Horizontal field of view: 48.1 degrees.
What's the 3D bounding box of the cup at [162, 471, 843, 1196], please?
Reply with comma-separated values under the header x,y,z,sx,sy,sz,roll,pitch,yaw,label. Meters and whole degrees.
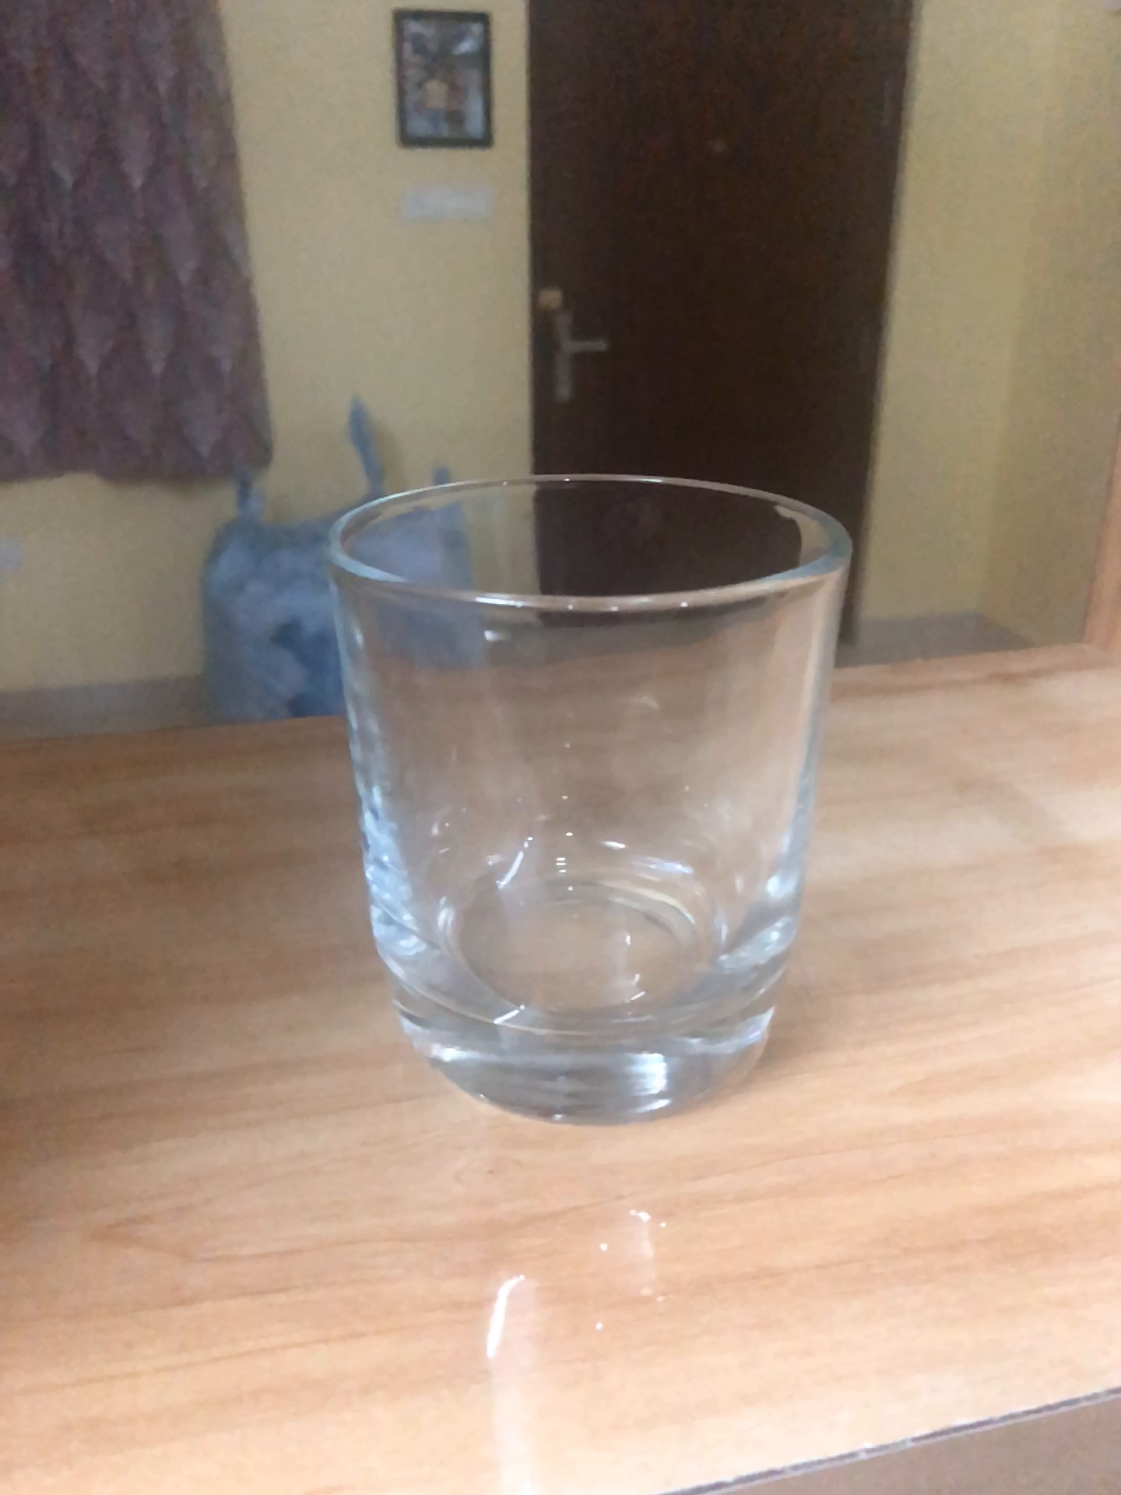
x,y,z,sx,sy,sz,roll,pitch,yaw,label
-0.002,0.007,0.215,0.090,0.090,0.080,4,23,10,cup
